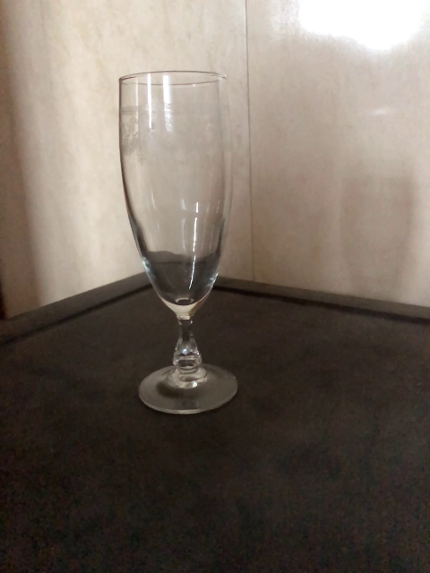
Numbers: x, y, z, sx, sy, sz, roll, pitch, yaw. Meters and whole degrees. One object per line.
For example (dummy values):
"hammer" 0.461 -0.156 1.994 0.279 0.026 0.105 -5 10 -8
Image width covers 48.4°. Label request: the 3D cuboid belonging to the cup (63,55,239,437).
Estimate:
"cup" -0.024 -0.018 0.244 0.060 0.169 0.060 -2 15 1
